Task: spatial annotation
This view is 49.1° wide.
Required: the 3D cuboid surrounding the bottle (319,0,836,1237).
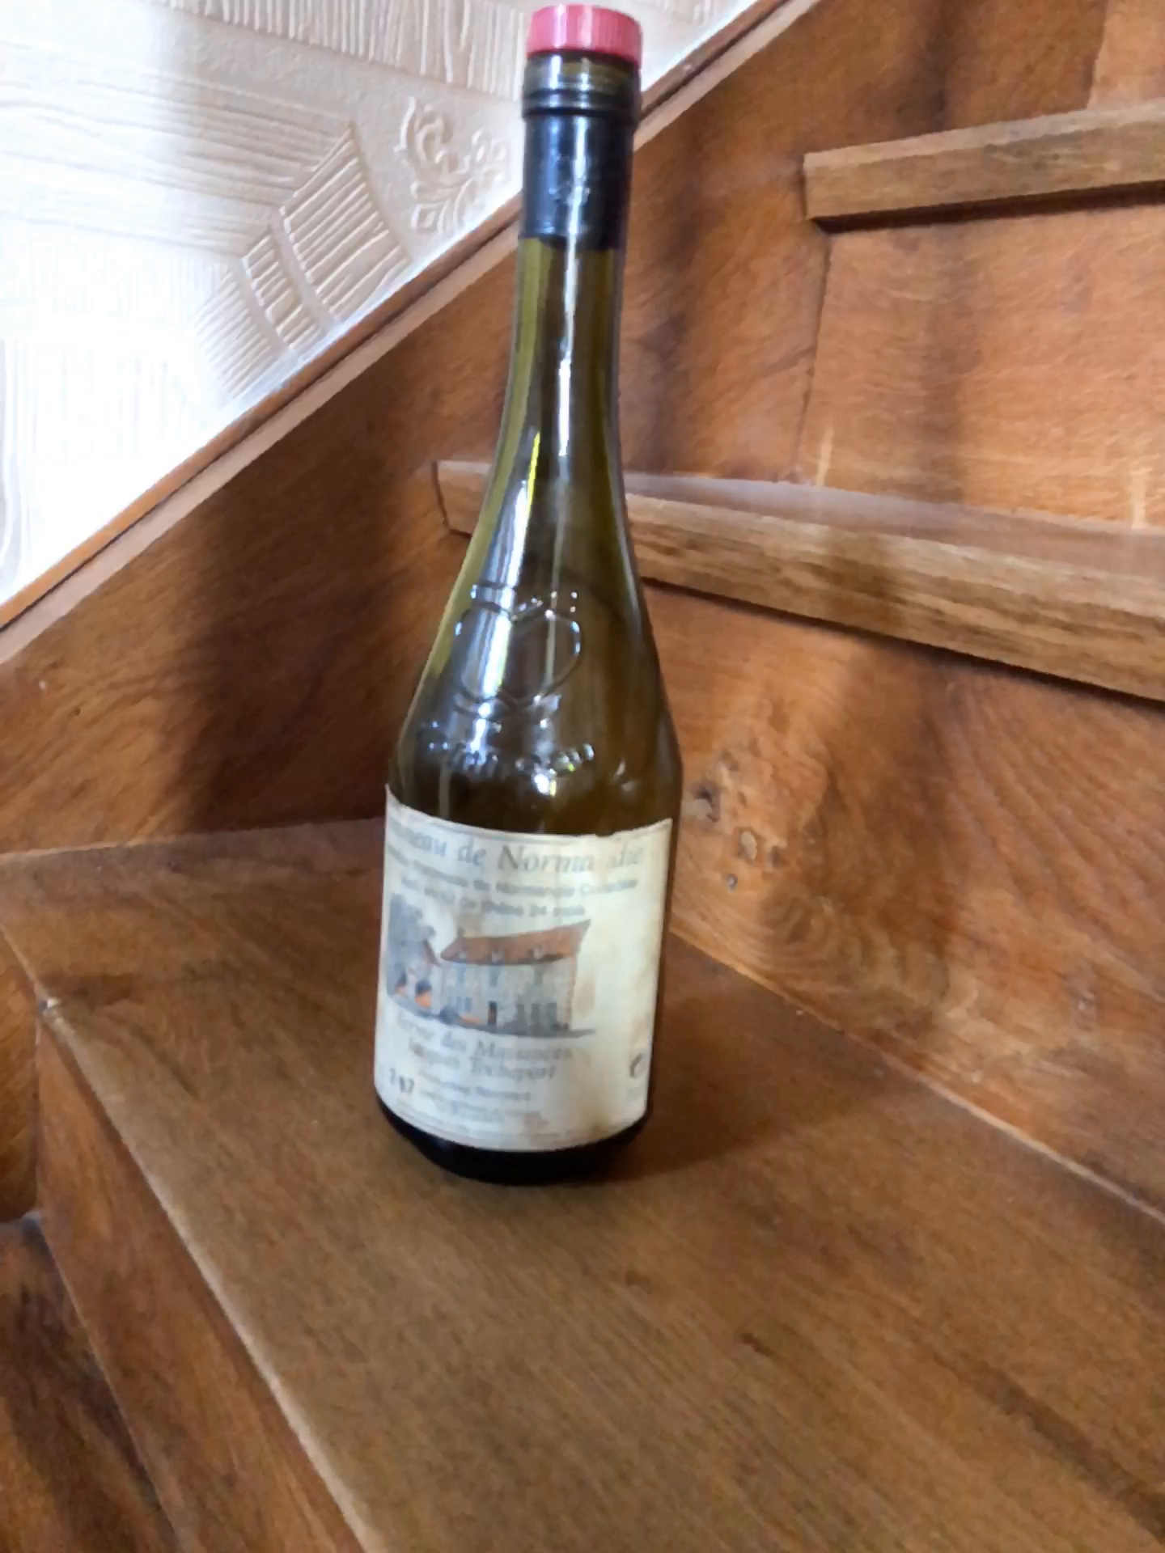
[{"bbox_3d":[-0.004,-0.043,0.361,0.090,0.309,0.090,5,14,-1],"label":"bottle"}]
